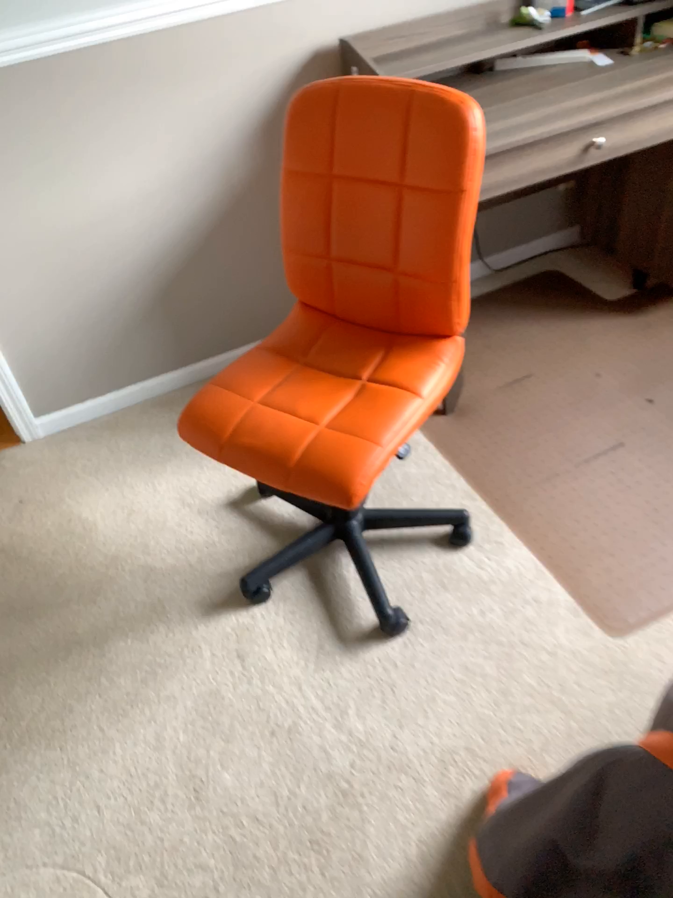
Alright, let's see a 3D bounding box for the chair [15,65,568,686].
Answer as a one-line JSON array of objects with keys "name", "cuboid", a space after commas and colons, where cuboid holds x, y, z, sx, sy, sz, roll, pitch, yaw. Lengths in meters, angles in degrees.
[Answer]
[{"name": "chair", "cuboid": [-0.004, -0.155, 1.361, 0.615, 0.901, 0.620, 20, 49, 28]}]
